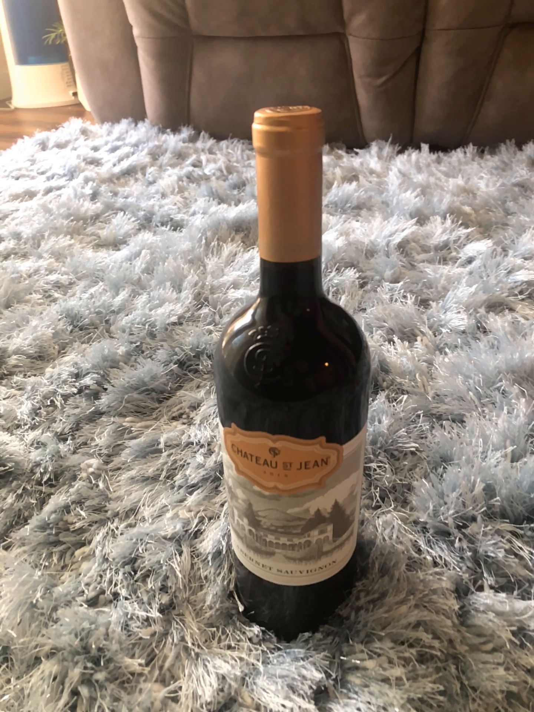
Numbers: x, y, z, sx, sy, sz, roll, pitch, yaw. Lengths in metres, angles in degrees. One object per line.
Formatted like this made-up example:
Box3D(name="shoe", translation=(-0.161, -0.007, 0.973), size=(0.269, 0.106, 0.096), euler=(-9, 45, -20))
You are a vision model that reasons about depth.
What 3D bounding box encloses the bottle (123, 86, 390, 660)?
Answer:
Box3D(name="bottle", translation=(0.009, 0.028, 0.313), size=(0.090, 0.298, 0.090), euler=(-2, 33, 2))
